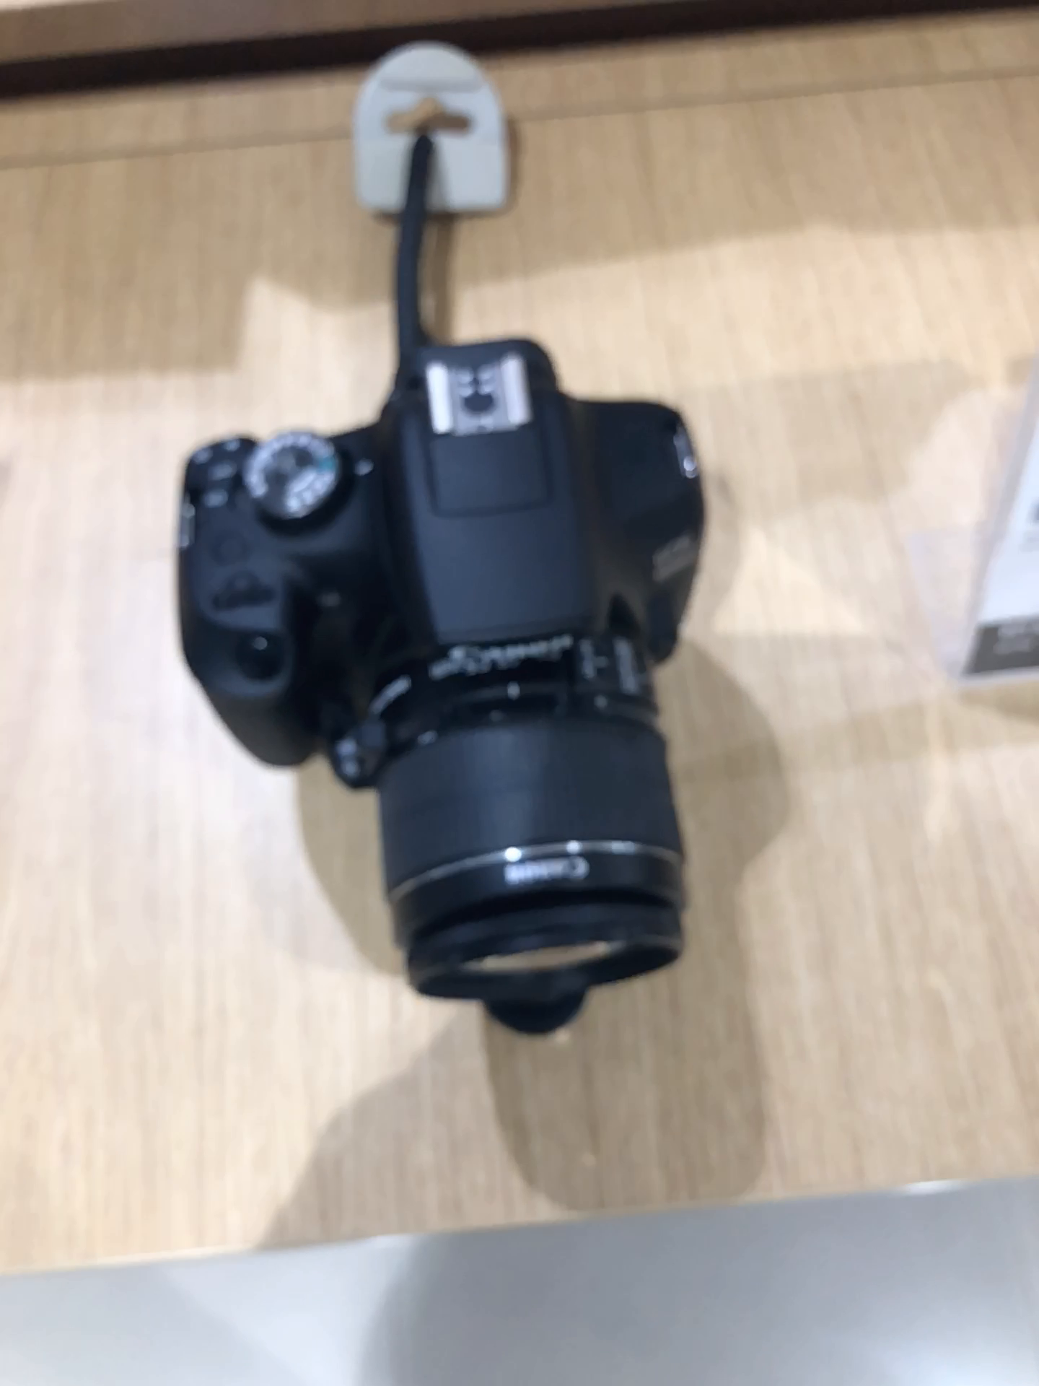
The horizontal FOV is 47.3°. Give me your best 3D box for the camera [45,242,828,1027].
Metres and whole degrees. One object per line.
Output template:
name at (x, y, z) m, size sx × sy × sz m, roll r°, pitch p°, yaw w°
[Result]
camera at (-0.017, -0.010, 0.267) m, size 0.130 × 0.090 × 0.140 m, roll -5°, pitch 65°, yaw 0°
